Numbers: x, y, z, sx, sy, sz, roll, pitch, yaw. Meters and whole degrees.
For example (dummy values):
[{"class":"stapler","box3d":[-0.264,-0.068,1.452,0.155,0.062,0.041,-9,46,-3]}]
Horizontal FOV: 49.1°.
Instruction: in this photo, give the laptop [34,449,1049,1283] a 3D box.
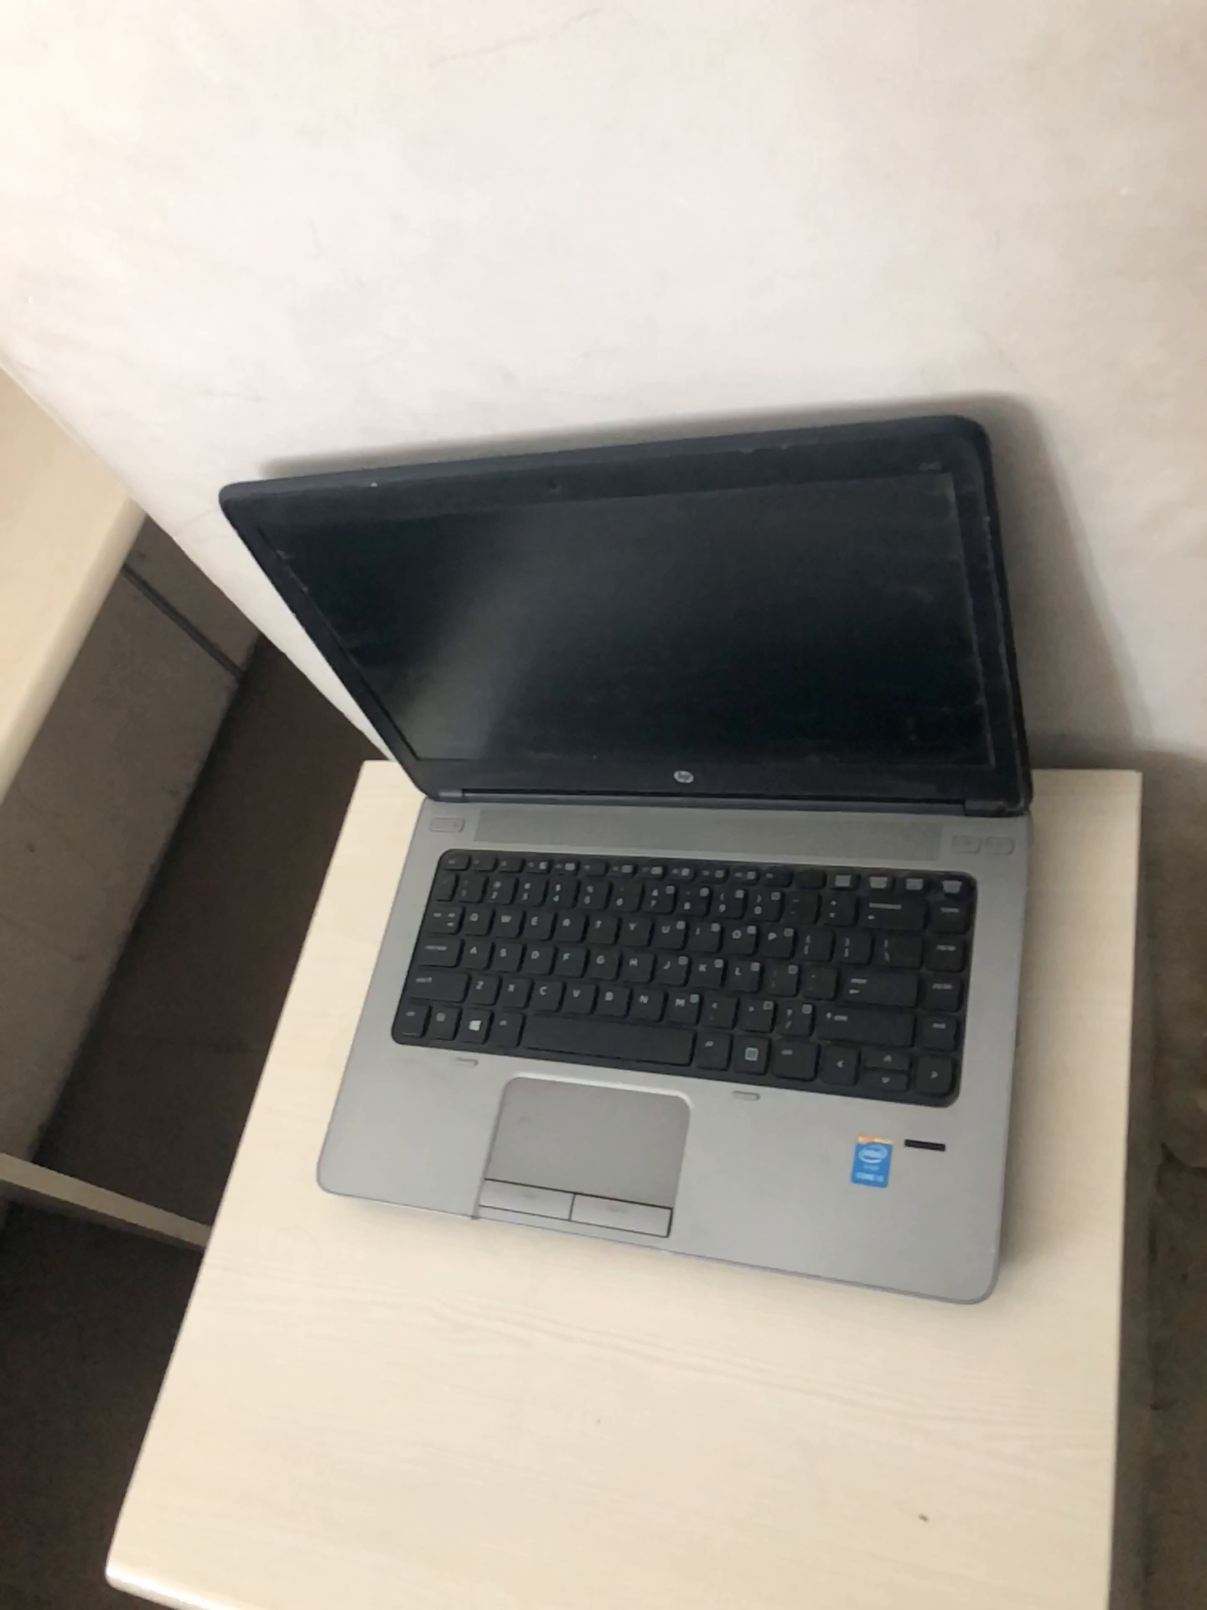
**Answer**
[{"class":"laptop","box3d":[0.002,0.031,0.542,0.304,0.210,0.237,2,63,24]}]
